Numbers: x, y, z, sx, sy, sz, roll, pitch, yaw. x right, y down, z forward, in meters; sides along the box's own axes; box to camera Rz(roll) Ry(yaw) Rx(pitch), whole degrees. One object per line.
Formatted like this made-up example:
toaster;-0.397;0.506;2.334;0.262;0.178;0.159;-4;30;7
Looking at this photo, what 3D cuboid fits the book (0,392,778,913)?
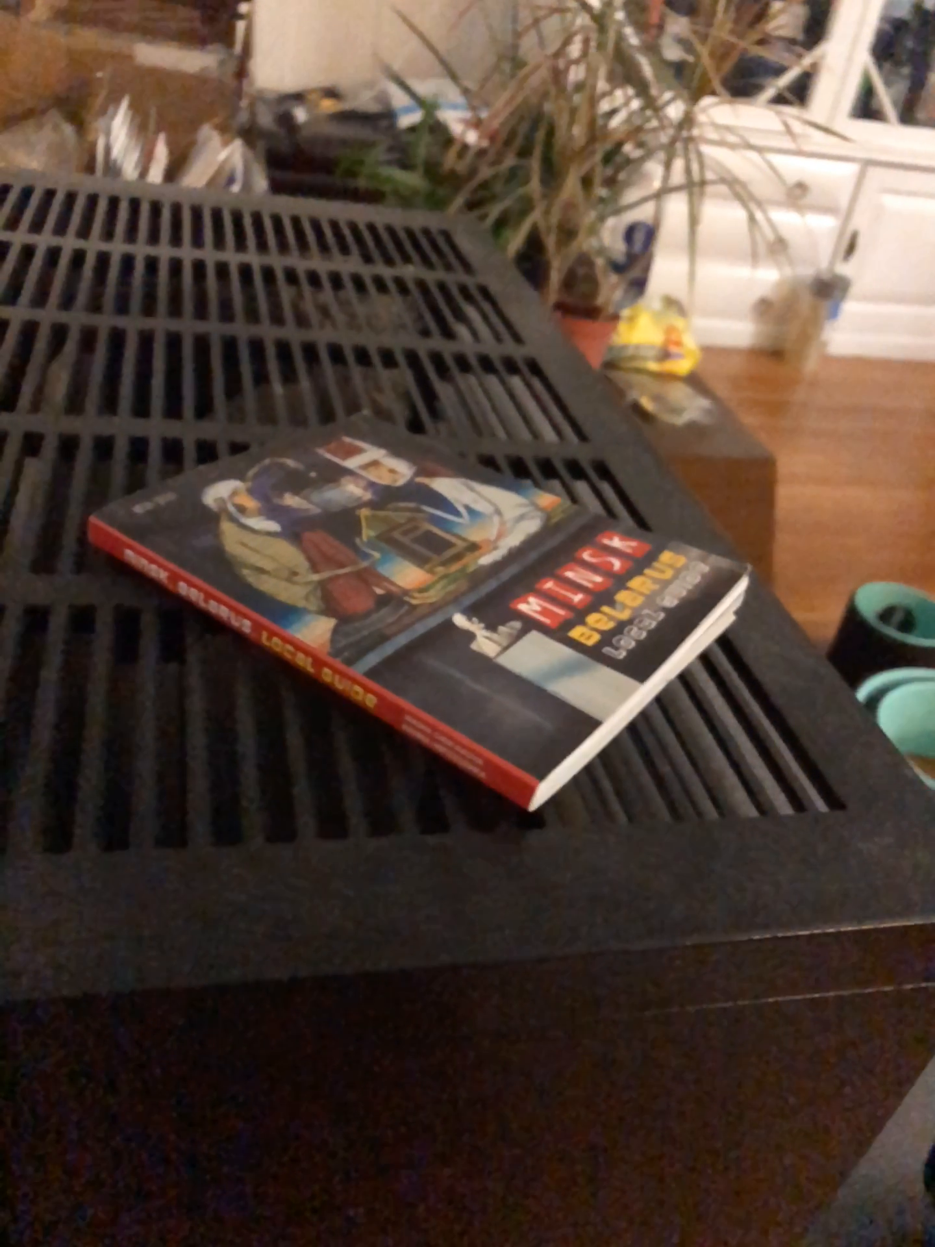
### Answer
book;-0.023;-0.014;0.341;0.200;0.020;0.161;28;38;25
